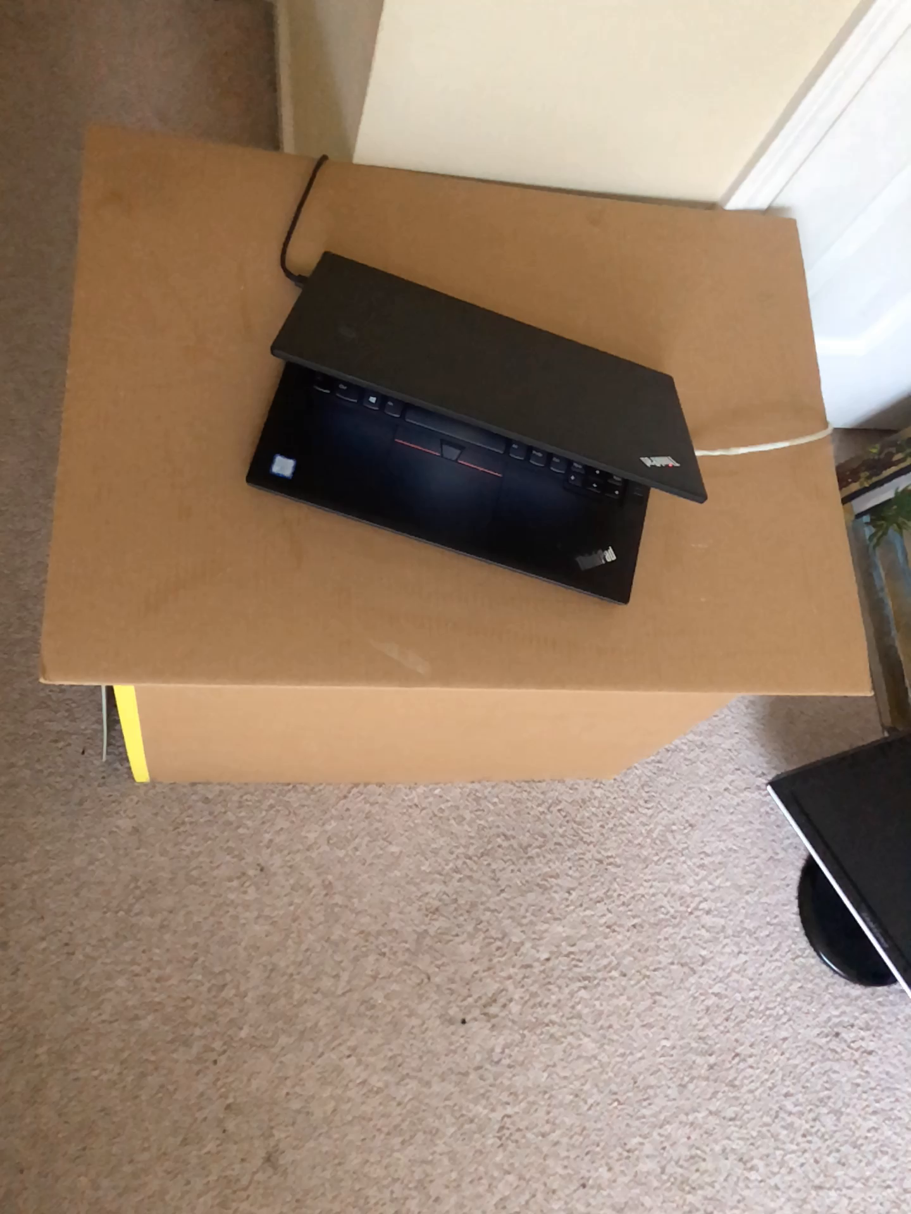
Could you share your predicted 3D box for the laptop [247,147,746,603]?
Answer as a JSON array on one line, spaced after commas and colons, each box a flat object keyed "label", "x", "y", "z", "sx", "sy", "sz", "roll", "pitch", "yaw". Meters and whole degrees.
[{"label": "laptop", "x": 0.035, "y": -0.176, "z": 0.803, "sx": 0.334, "sy": 0.140, "sz": 0.232, "roll": 17, "pitch": 67, "yaw": -9}]
